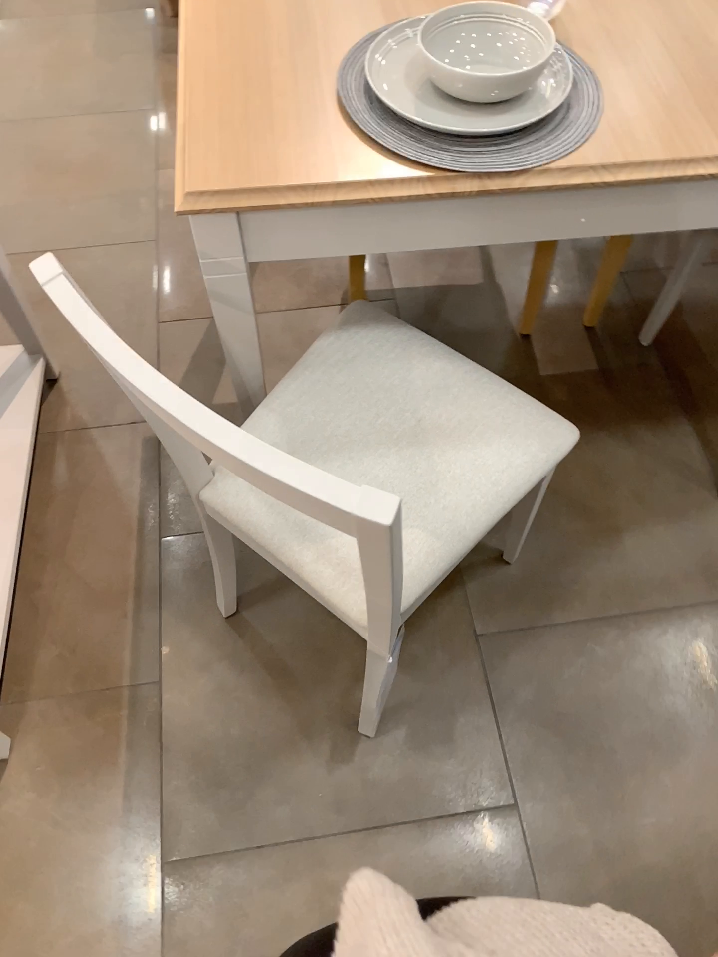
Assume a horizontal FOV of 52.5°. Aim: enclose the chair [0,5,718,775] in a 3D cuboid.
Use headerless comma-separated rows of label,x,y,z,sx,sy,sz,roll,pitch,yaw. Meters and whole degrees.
chair,0.017,-0.029,1.005,0.462,0.834,0.509,37,65,20
